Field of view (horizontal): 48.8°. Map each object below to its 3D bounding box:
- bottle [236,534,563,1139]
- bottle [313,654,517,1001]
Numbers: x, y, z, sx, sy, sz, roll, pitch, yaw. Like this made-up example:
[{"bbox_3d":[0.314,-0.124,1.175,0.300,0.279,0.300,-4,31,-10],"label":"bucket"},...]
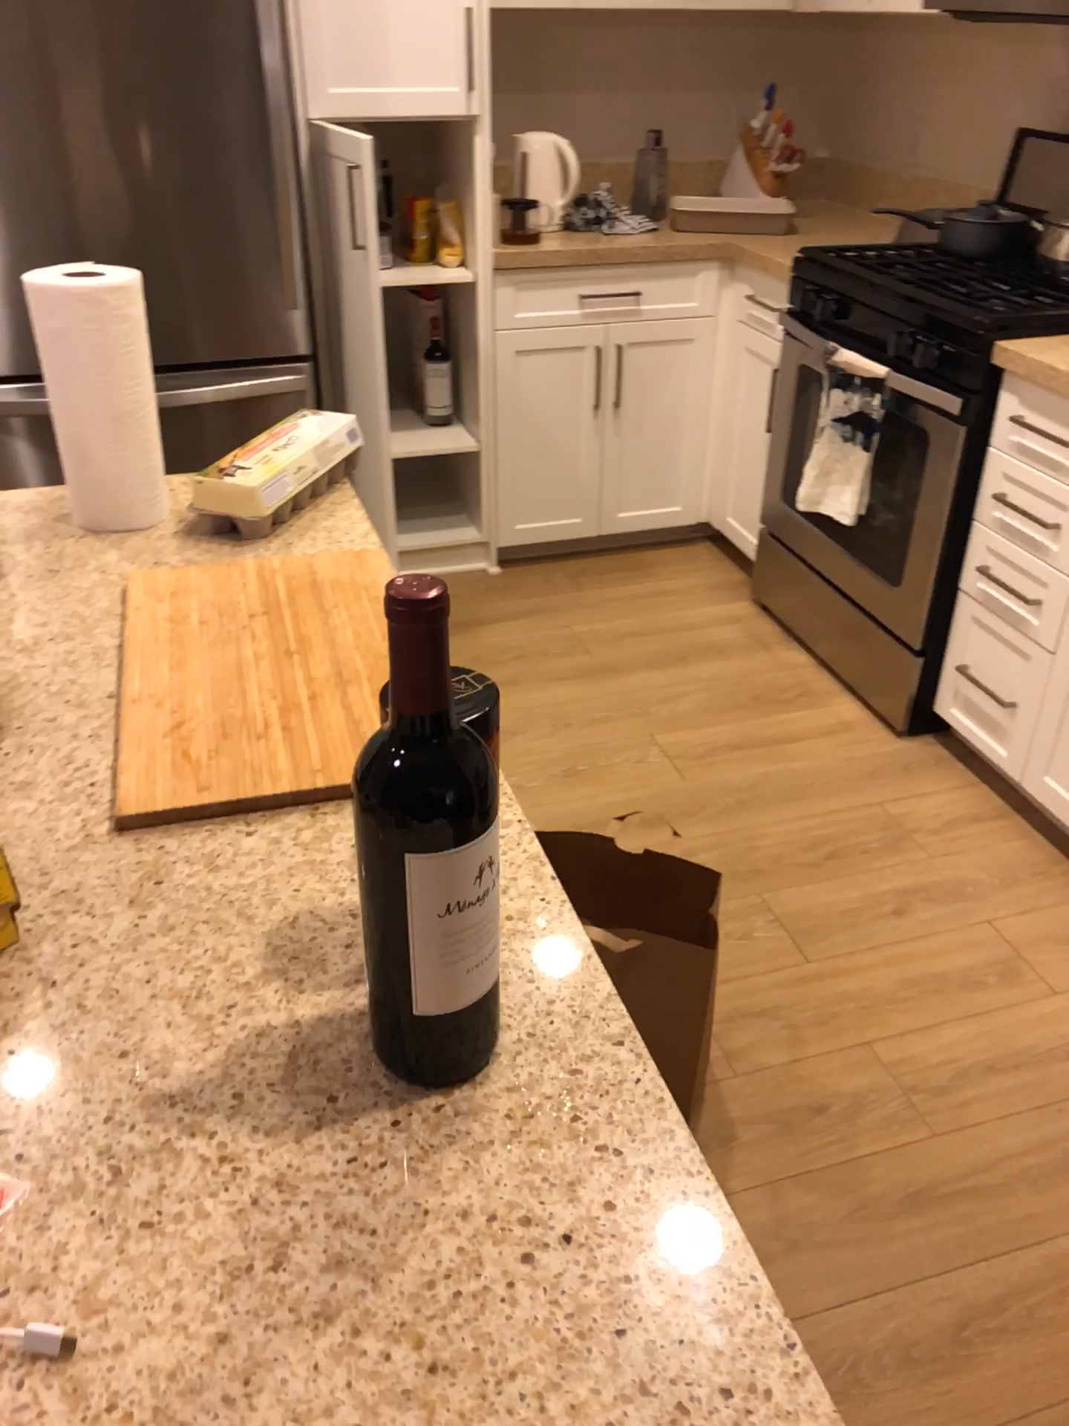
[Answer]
[{"bbox_3d":[-0.065,0.066,0.621,0.110,0.278,0.110,0,30,0],"label":"bottle"},{"bbox_3d":[-0.073,0.071,0.744,0.090,0.179,0.090,0,30,0],"label":"bottle"}]
